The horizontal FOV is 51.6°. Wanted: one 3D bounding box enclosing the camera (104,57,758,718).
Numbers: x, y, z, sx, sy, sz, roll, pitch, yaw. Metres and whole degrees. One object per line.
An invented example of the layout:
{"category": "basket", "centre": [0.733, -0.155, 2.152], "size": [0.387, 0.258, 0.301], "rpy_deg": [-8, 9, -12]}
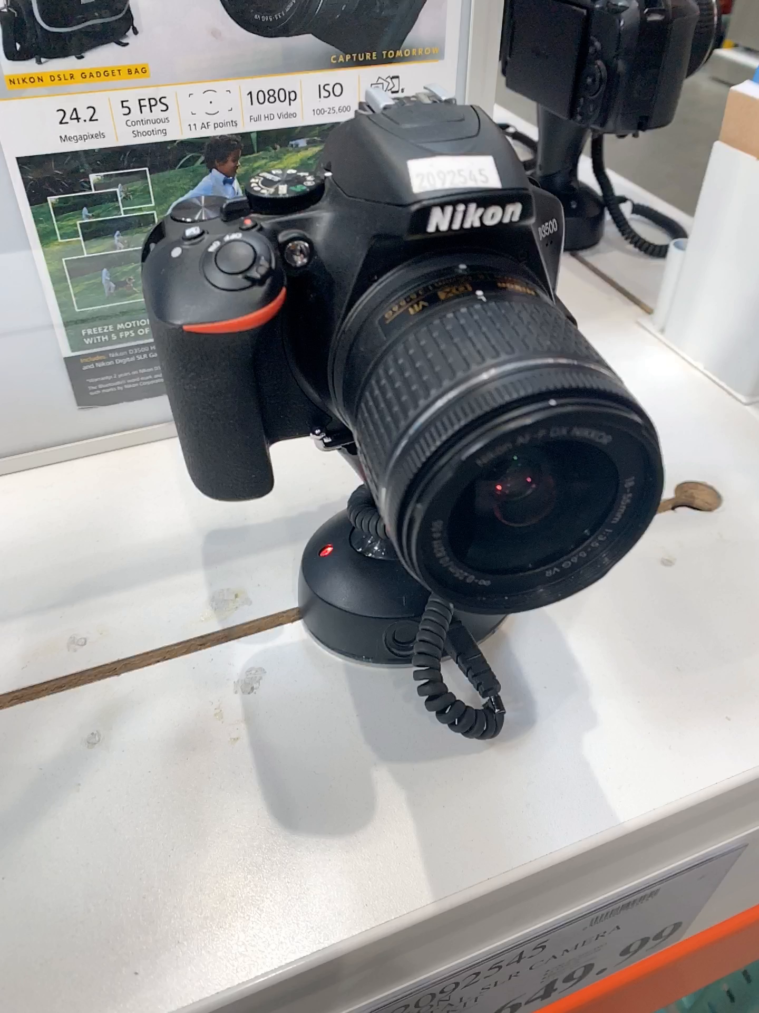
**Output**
{"category": "camera", "centre": [0.005, -0.040, 0.200], "size": [0.116, 0.099, 0.121], "rpy_deg": [-12, 43, -13]}
